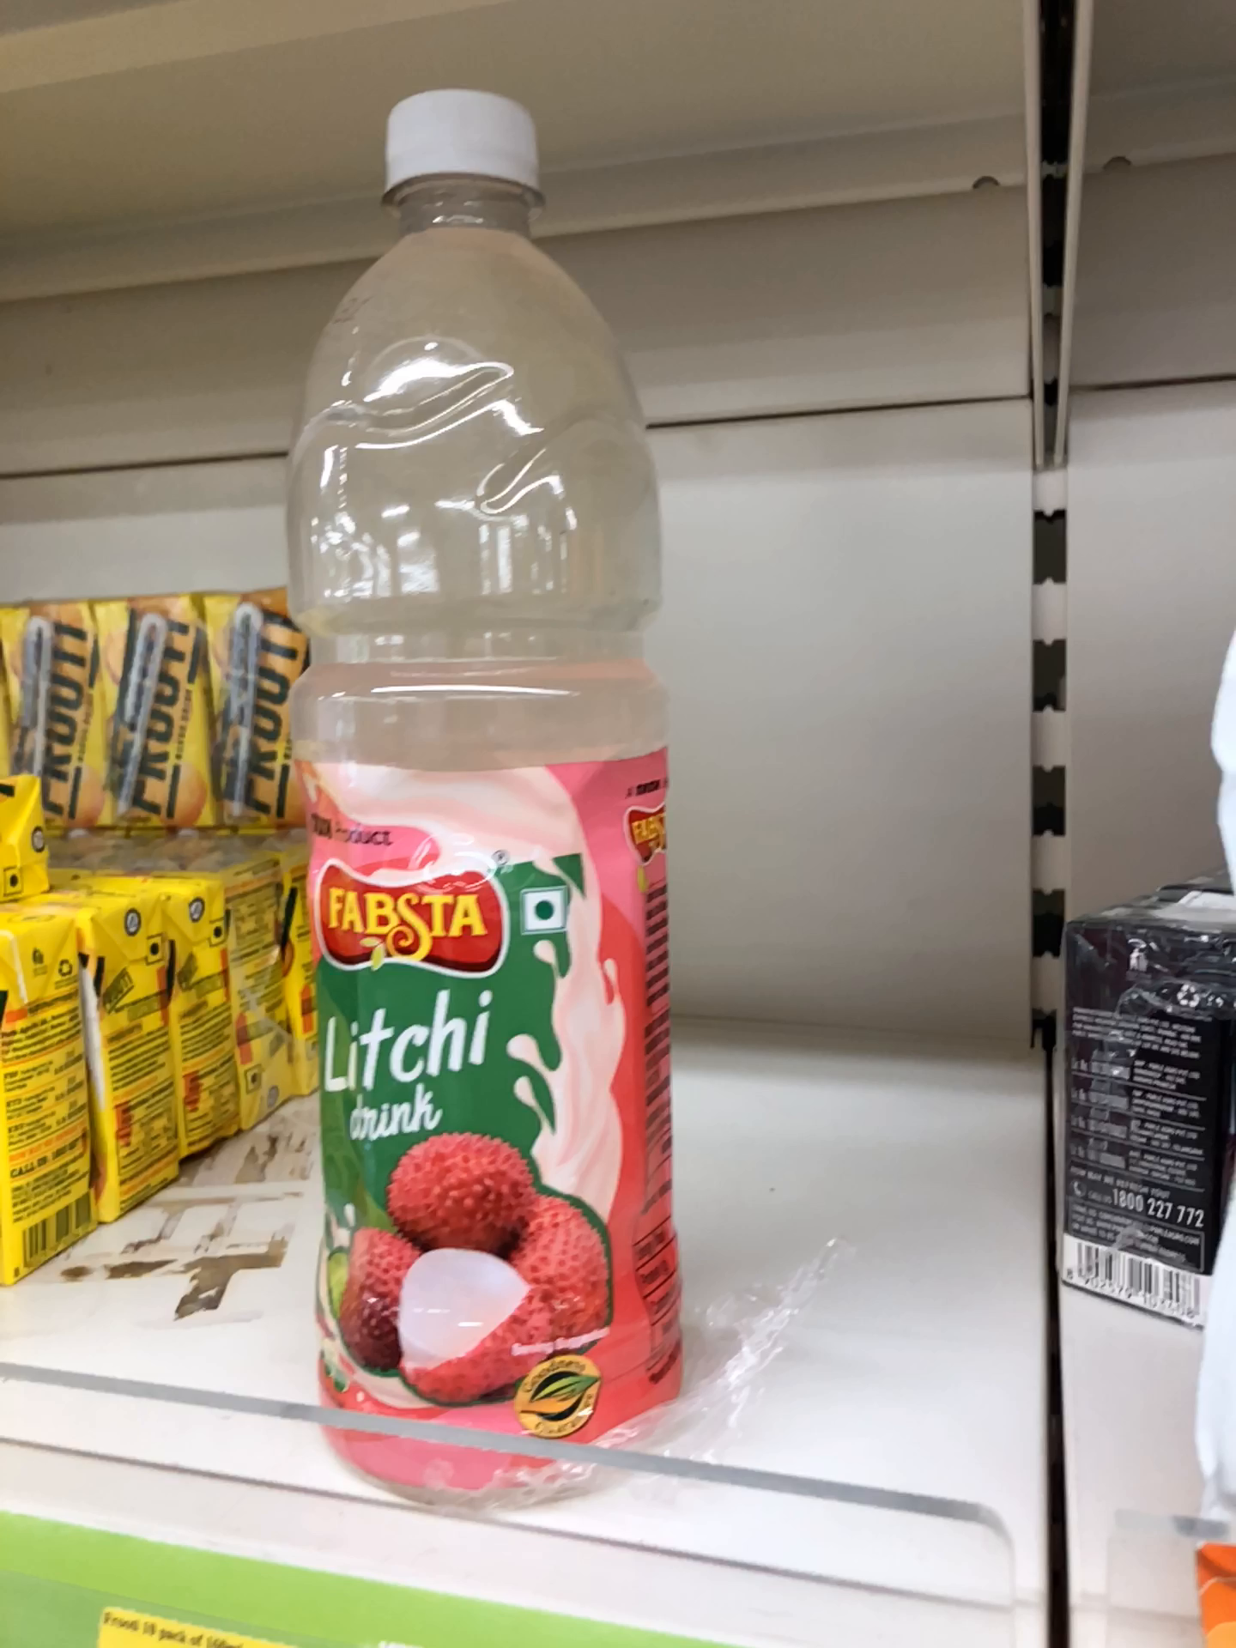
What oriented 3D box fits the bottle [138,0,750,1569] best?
[{"bbox_3d":[-0.028,-0.006,0.277,0.080,0.269,0.070,2,9,28],"label":"bottle"}]
